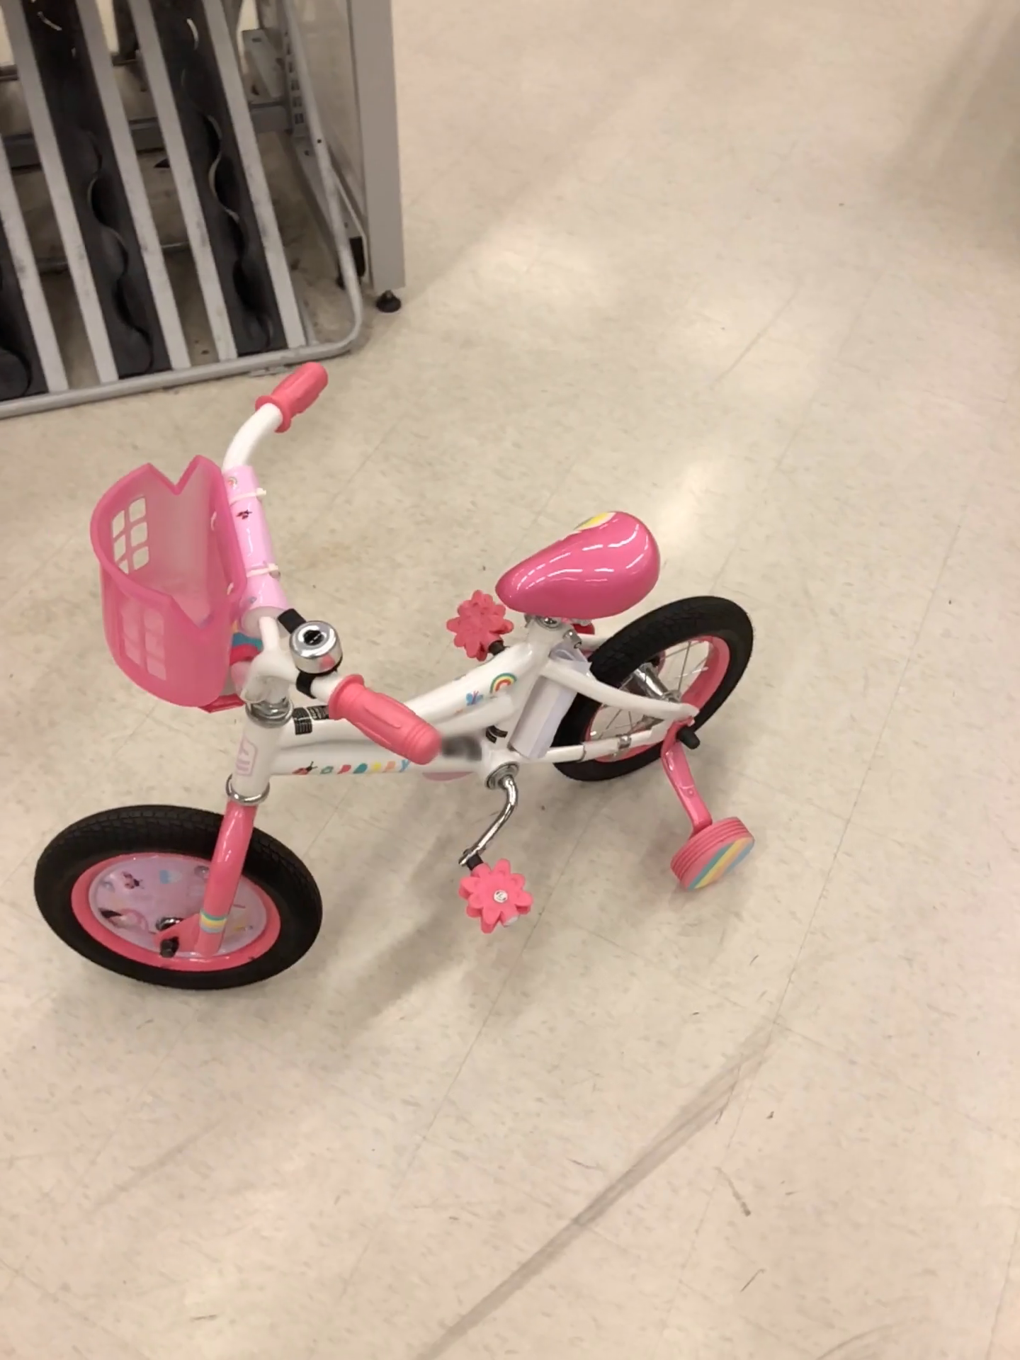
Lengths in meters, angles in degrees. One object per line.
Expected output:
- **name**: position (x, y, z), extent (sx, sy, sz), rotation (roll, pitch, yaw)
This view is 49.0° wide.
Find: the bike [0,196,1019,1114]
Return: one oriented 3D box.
- **bike**: position (-0.097, -0.006, 1.206), extent (0.879, 0.632, 0.458), rotation (-20, 58, -14)
